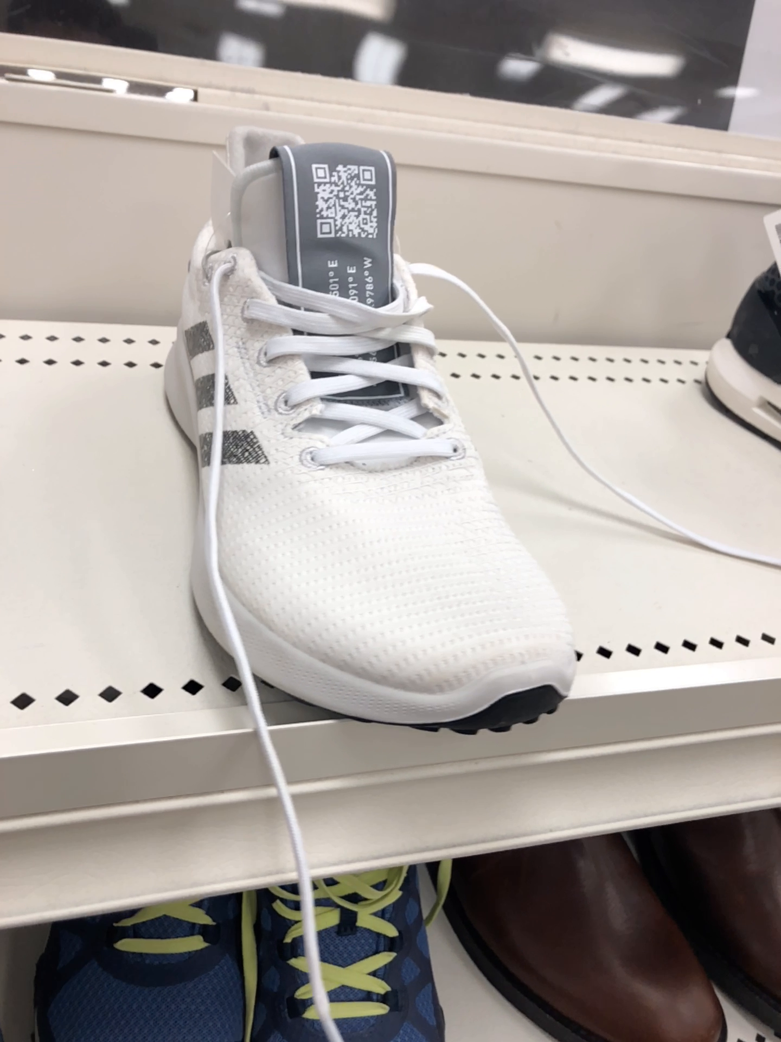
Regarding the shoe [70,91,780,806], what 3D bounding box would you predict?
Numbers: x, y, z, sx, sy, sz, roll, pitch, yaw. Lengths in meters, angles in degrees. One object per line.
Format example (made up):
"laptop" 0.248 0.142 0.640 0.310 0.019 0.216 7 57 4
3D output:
"shoe" -0.042 -0.084 0.353 0.128 0.139 0.382 -4 27 -24
